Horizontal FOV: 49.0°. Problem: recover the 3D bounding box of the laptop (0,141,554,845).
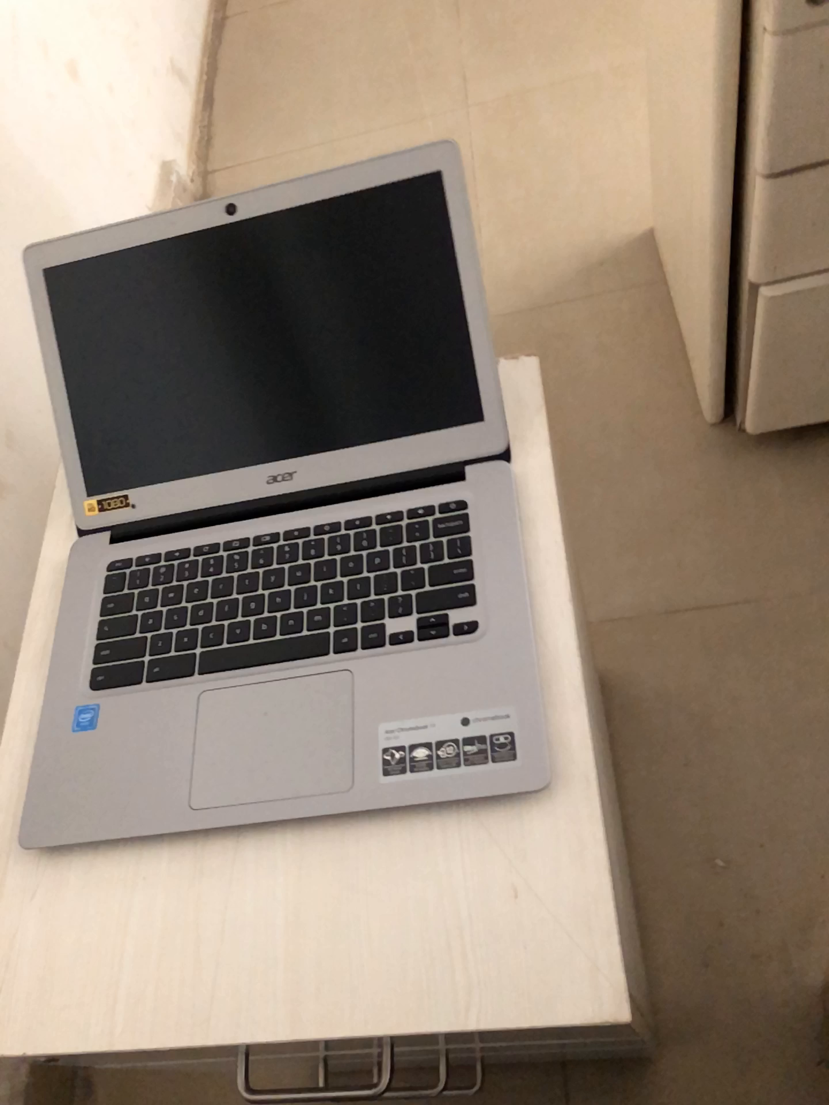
[{"bbox_3d":[-0.106,-0.048,0.598,0.332,0.126,0.409,-9,58,11],"label":"laptop"}]
